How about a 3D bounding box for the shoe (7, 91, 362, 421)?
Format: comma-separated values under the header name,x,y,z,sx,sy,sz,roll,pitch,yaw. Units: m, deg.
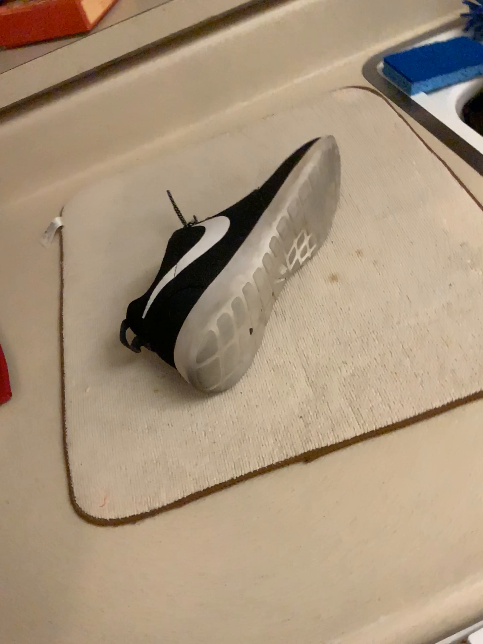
name,x,y,z,sx,sy,sz,roll,pitch,yaw
shoe,-0.032,-0.079,0.479,0.180,0.100,0.270,16,59,28
